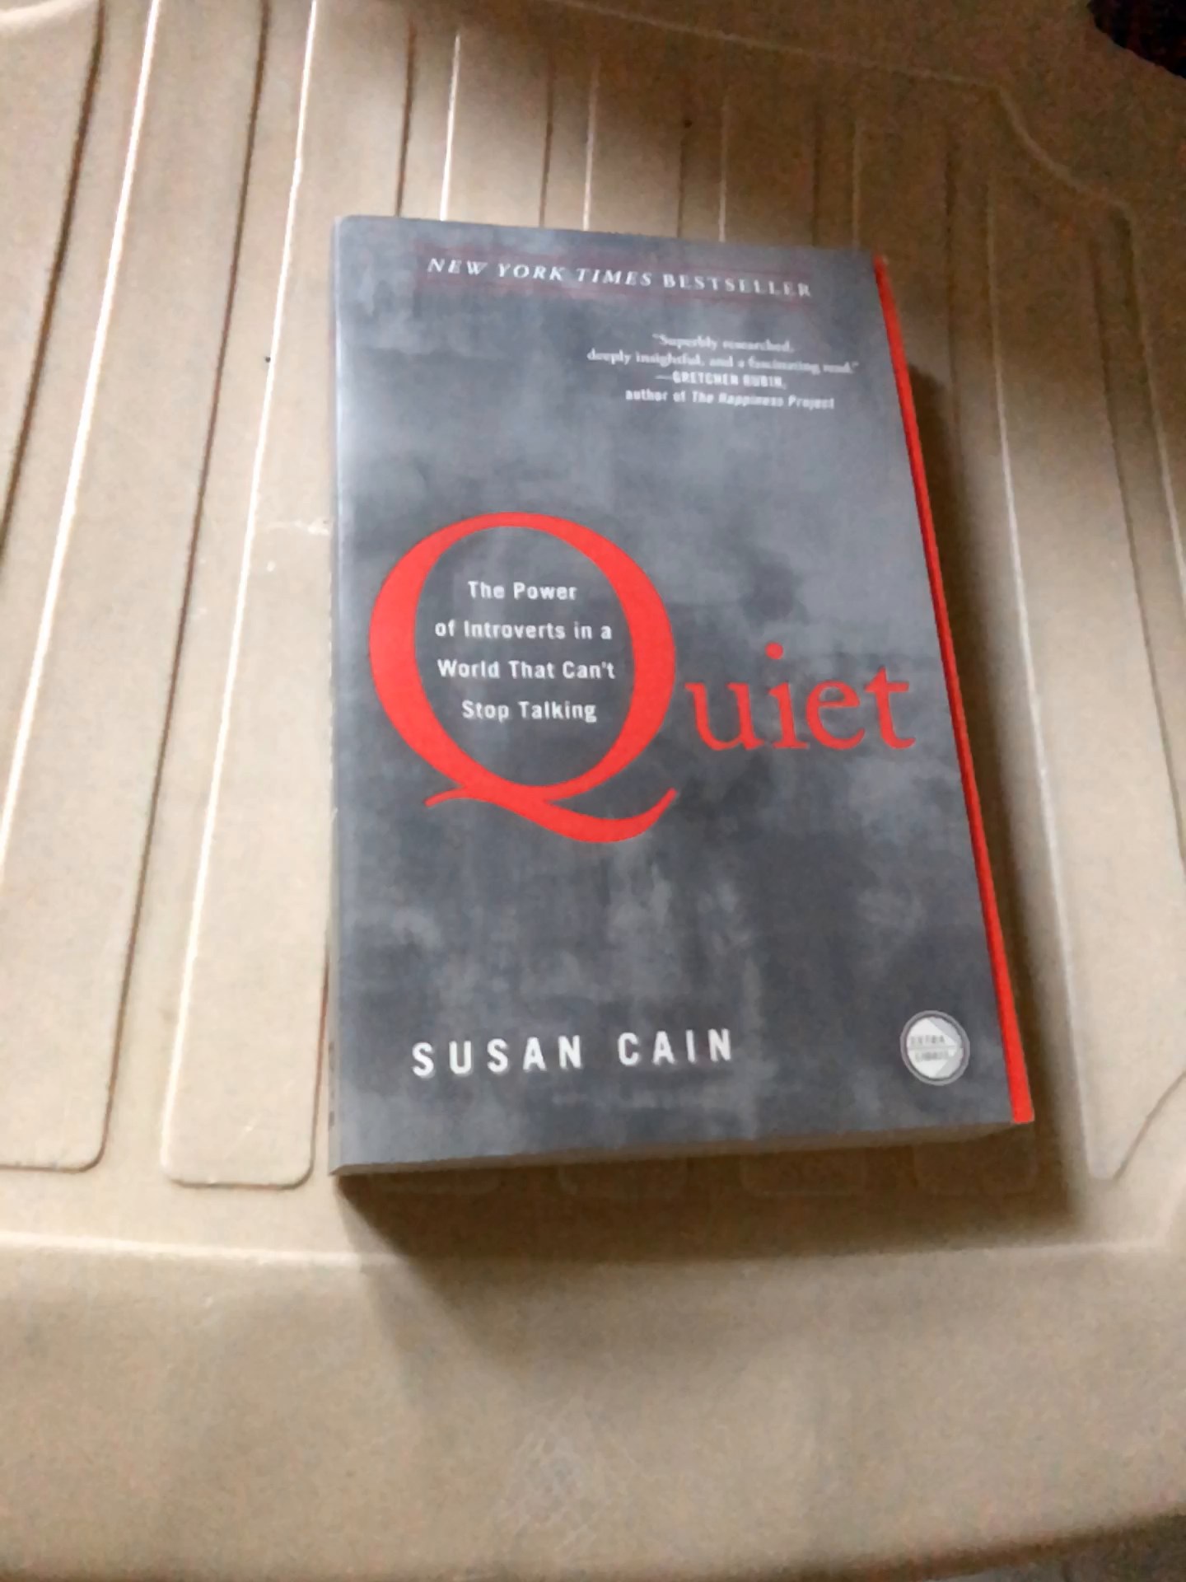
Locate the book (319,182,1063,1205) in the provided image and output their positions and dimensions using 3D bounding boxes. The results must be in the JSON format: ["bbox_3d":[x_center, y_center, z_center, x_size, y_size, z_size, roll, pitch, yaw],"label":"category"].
[{"bbox_3d":[0.011,-0.025,0.270,0.130,0.030,0.200,0,72,-13],"label":"book"}]
